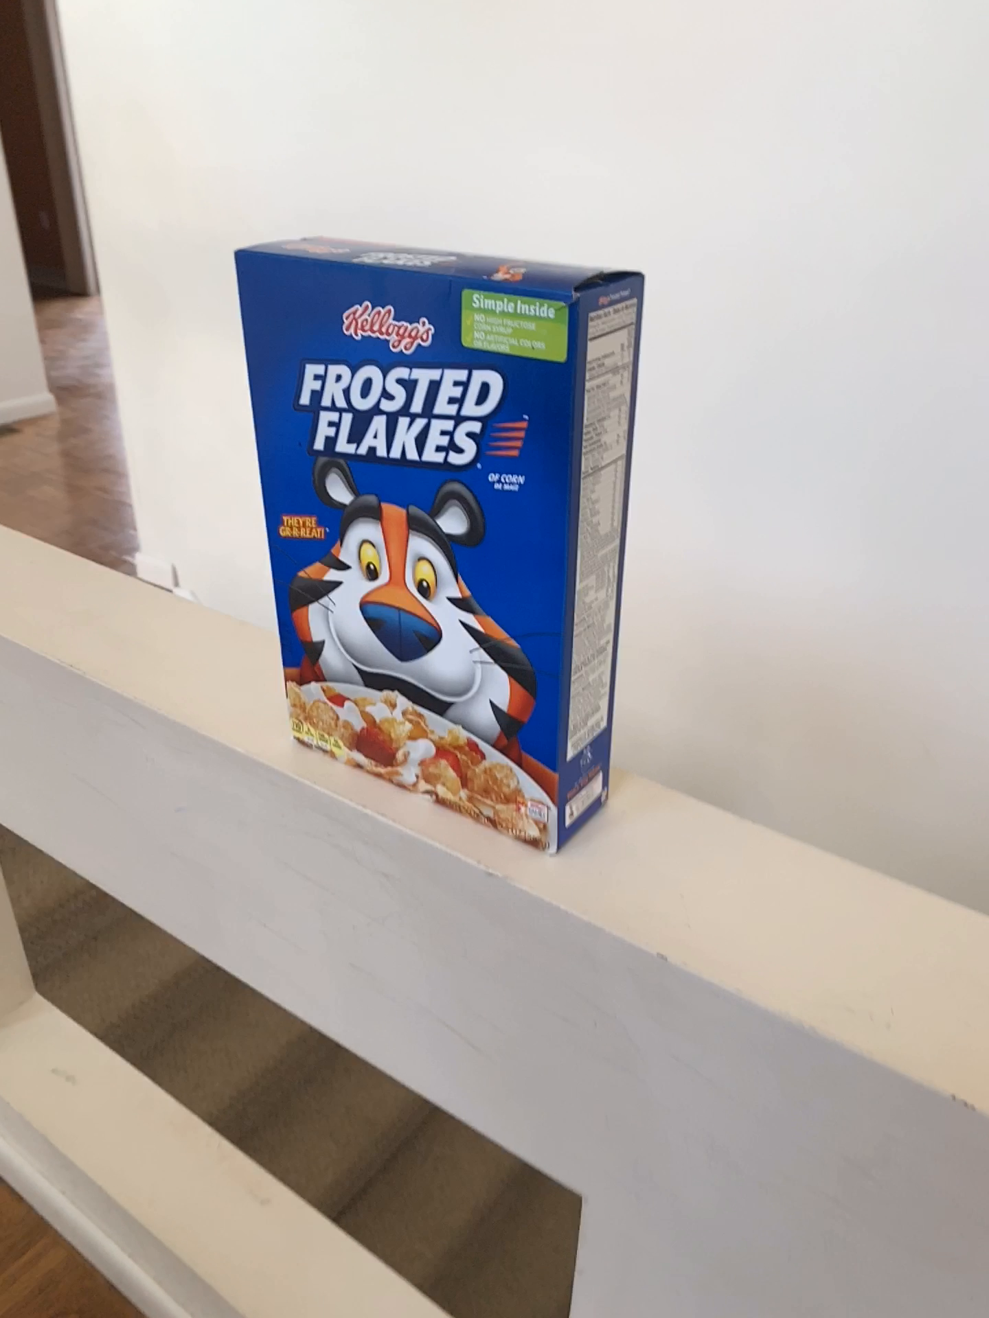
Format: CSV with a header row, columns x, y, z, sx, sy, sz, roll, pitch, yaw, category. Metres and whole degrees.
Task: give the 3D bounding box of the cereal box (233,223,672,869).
x,y,z,sx,sy,sz,roll,pitch,yaw,category
-0.025,-0.058,0.523,0.200,0.288,0.060,20,35,30,cereal box
